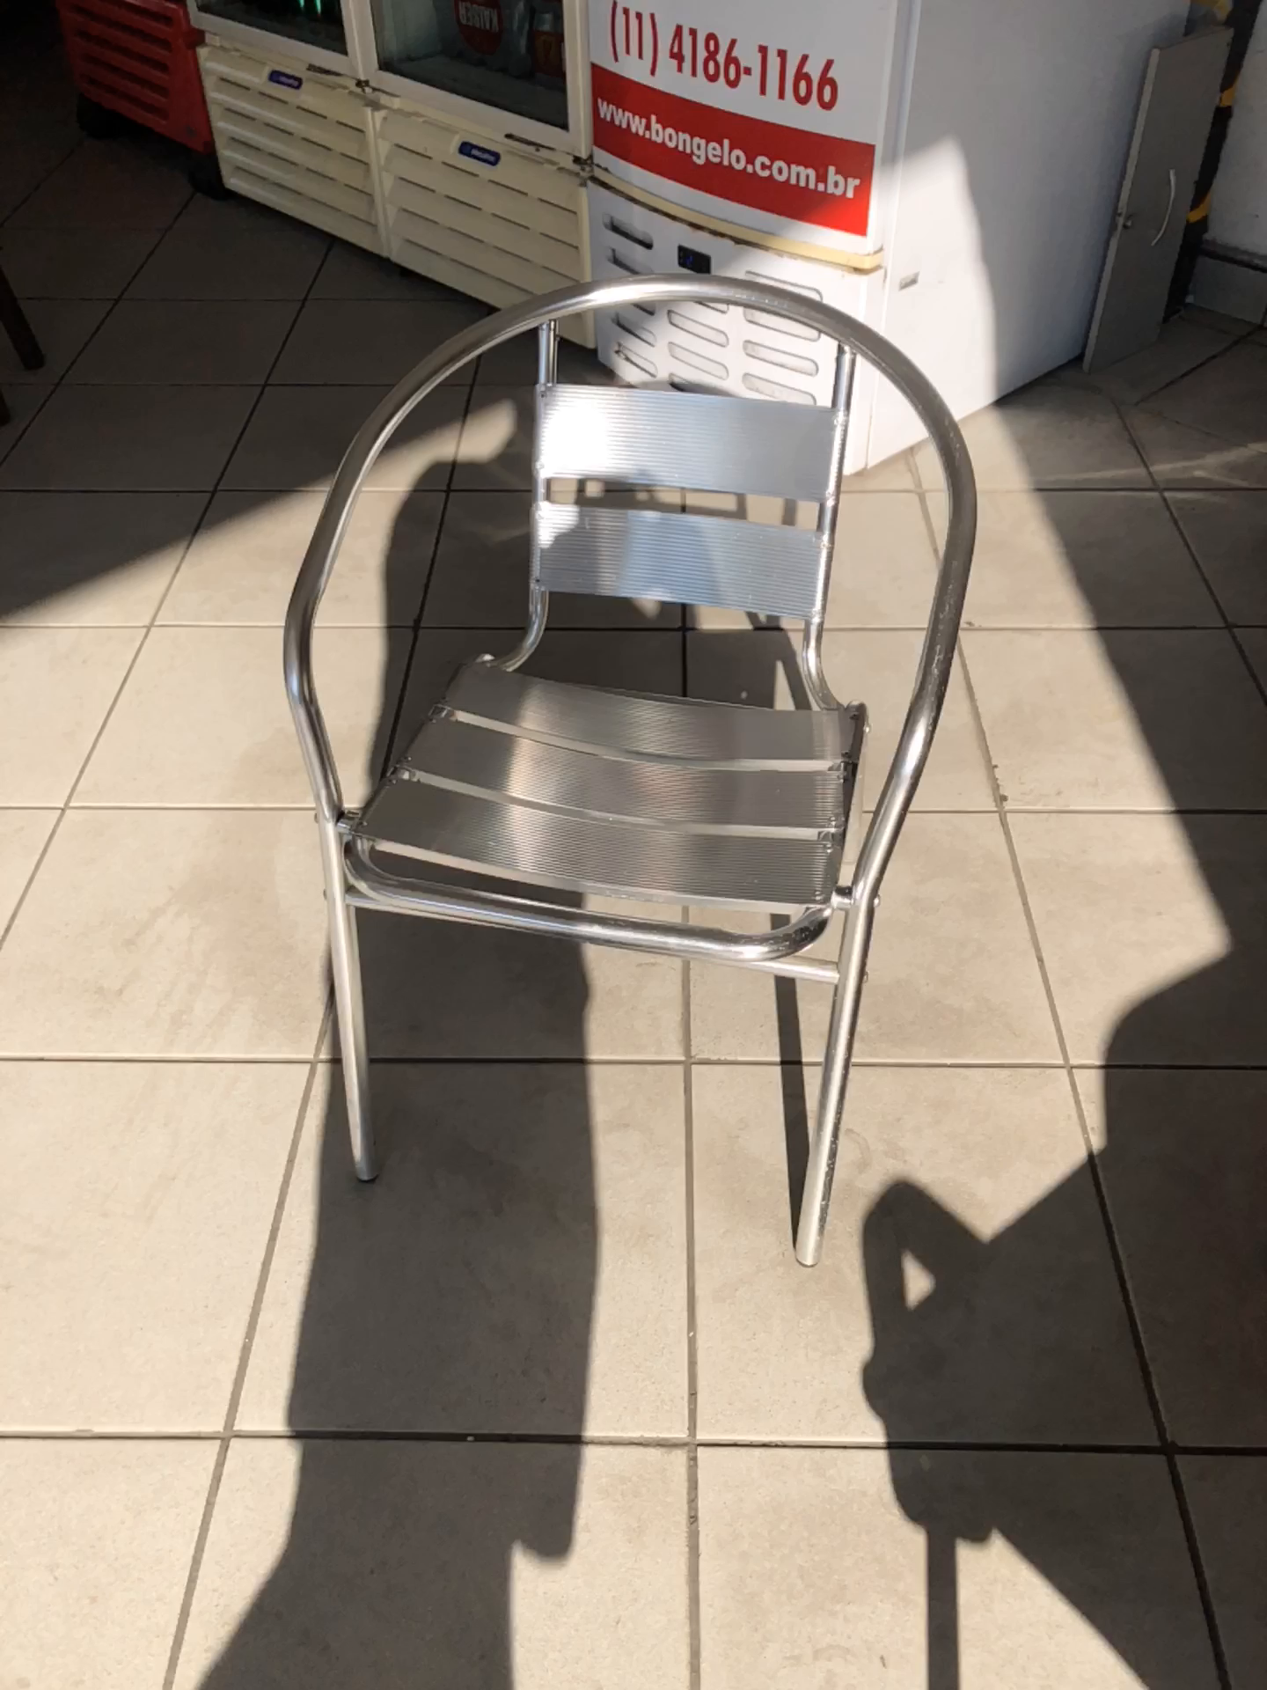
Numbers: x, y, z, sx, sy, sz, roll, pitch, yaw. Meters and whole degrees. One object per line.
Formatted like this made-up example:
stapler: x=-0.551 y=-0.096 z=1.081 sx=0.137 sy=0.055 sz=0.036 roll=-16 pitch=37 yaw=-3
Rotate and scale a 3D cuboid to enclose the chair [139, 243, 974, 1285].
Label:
chair: x=-0.001 y=-0.091 z=1.343 sx=0.520 sy=0.705 sz=0.634 roll=8 pitch=43 yaw=10
